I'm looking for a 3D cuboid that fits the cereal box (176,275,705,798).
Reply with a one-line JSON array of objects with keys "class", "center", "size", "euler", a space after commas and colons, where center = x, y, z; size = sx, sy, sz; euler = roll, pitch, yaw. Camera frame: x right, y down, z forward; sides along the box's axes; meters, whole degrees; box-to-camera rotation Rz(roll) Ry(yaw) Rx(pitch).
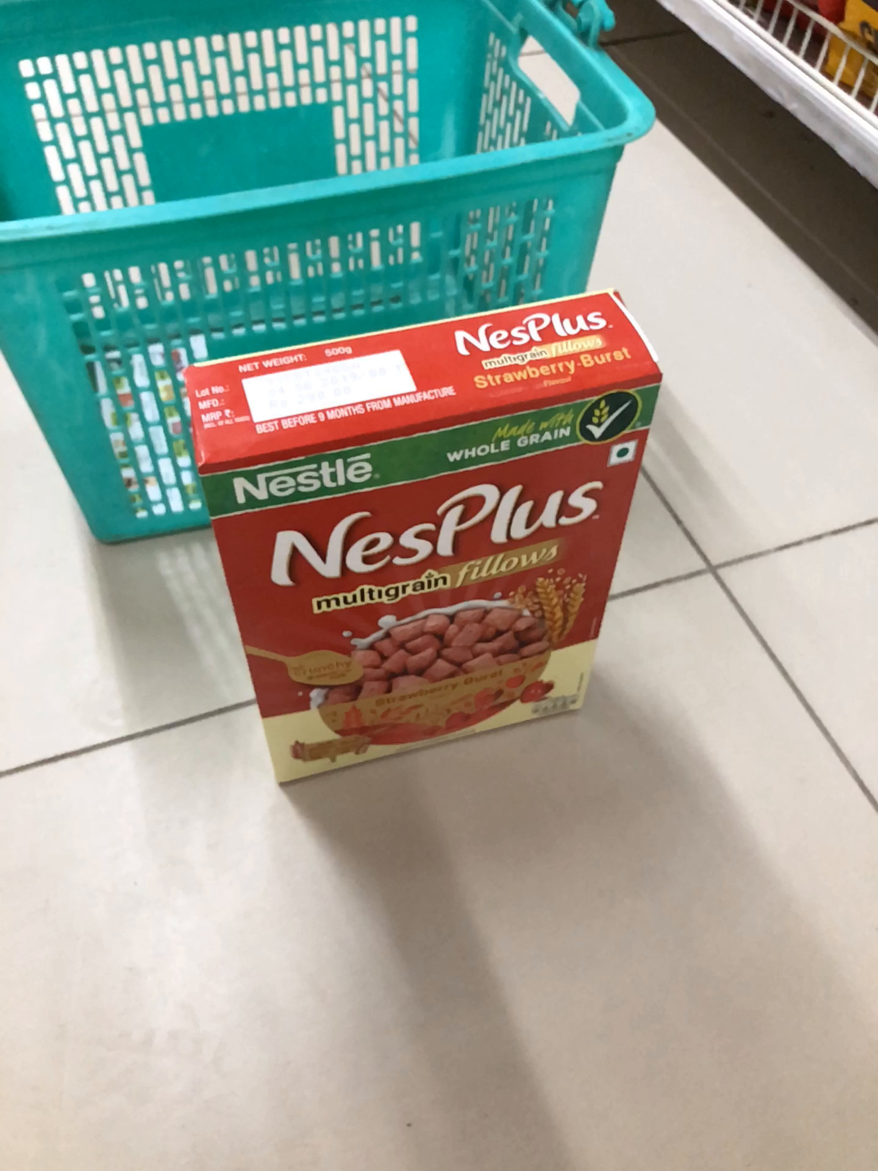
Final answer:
[{"class": "cereal box", "center": [-0.002, -0.006, 0.468], "size": [0.190, 0.258, 0.060], "euler": [-12, 53, -11]}]
